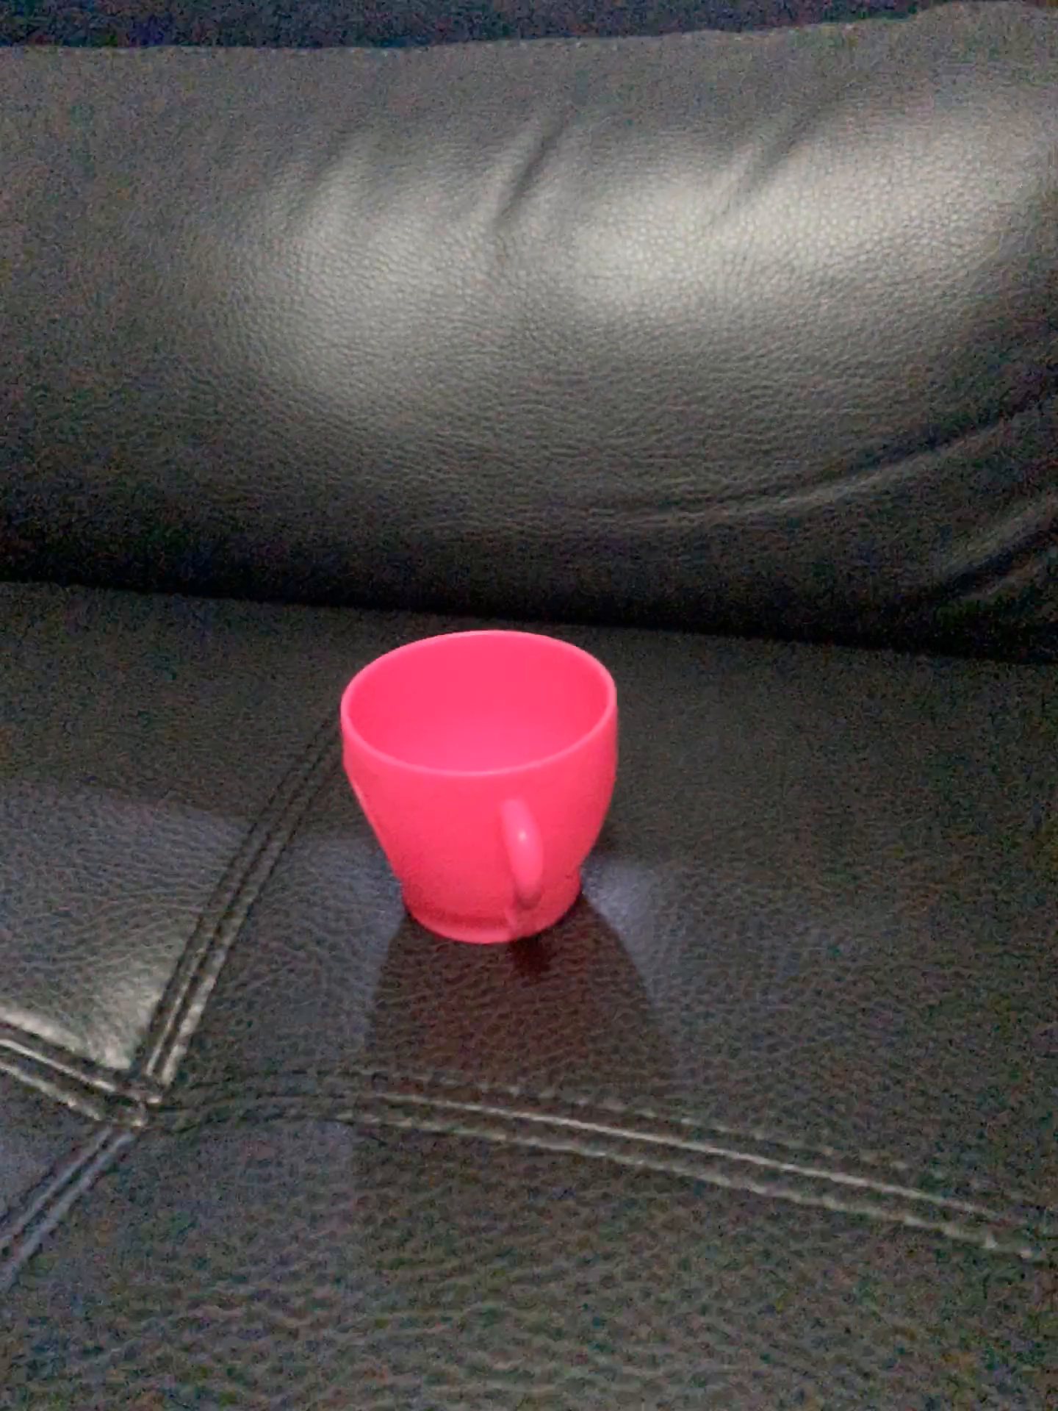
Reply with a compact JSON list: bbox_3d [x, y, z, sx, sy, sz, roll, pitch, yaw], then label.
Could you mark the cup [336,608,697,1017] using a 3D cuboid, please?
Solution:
[{"bbox_3d":[-0.007,0.018,0.234,0.061,0.047,0.074,-6,29,-9],"label":"cup"}]
